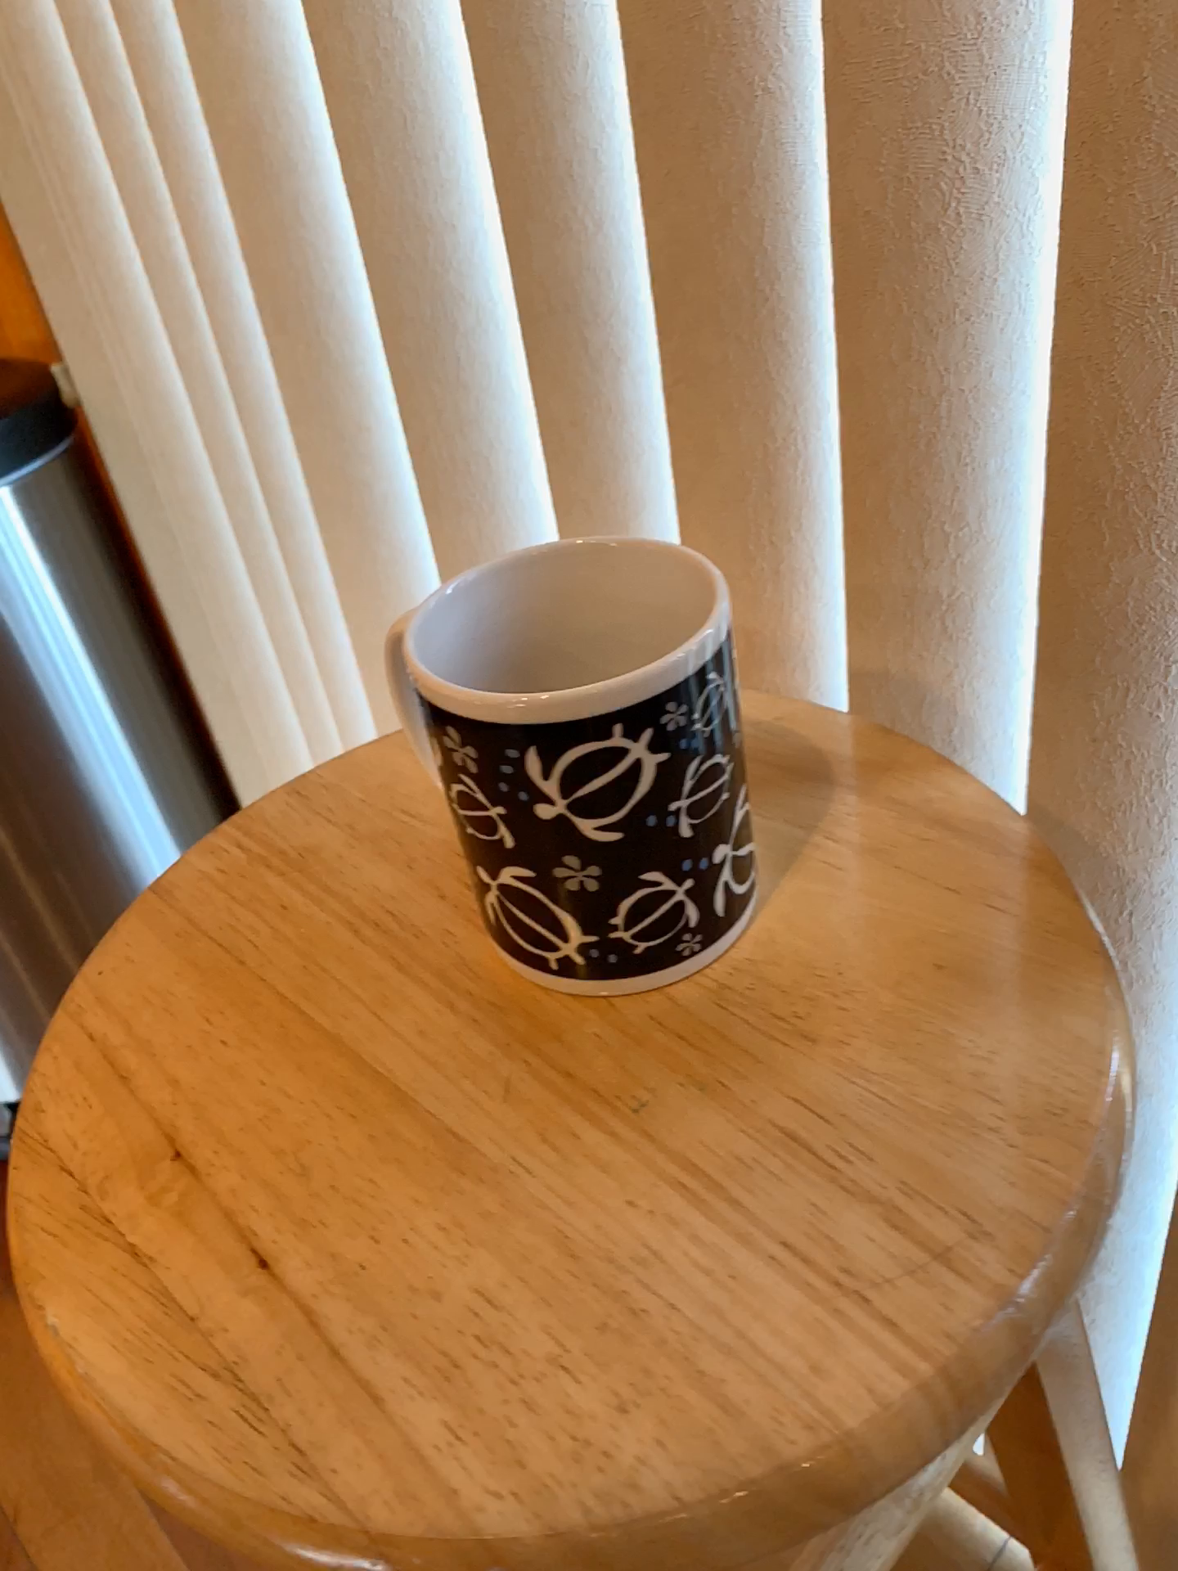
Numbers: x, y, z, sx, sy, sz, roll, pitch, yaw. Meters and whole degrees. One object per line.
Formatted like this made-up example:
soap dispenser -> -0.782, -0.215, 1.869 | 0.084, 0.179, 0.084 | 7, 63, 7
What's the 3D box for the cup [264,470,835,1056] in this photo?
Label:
cup -> -0.009, -0.014, 0.344 | 0.090, 0.099, 0.121 | -32, 40, -28
